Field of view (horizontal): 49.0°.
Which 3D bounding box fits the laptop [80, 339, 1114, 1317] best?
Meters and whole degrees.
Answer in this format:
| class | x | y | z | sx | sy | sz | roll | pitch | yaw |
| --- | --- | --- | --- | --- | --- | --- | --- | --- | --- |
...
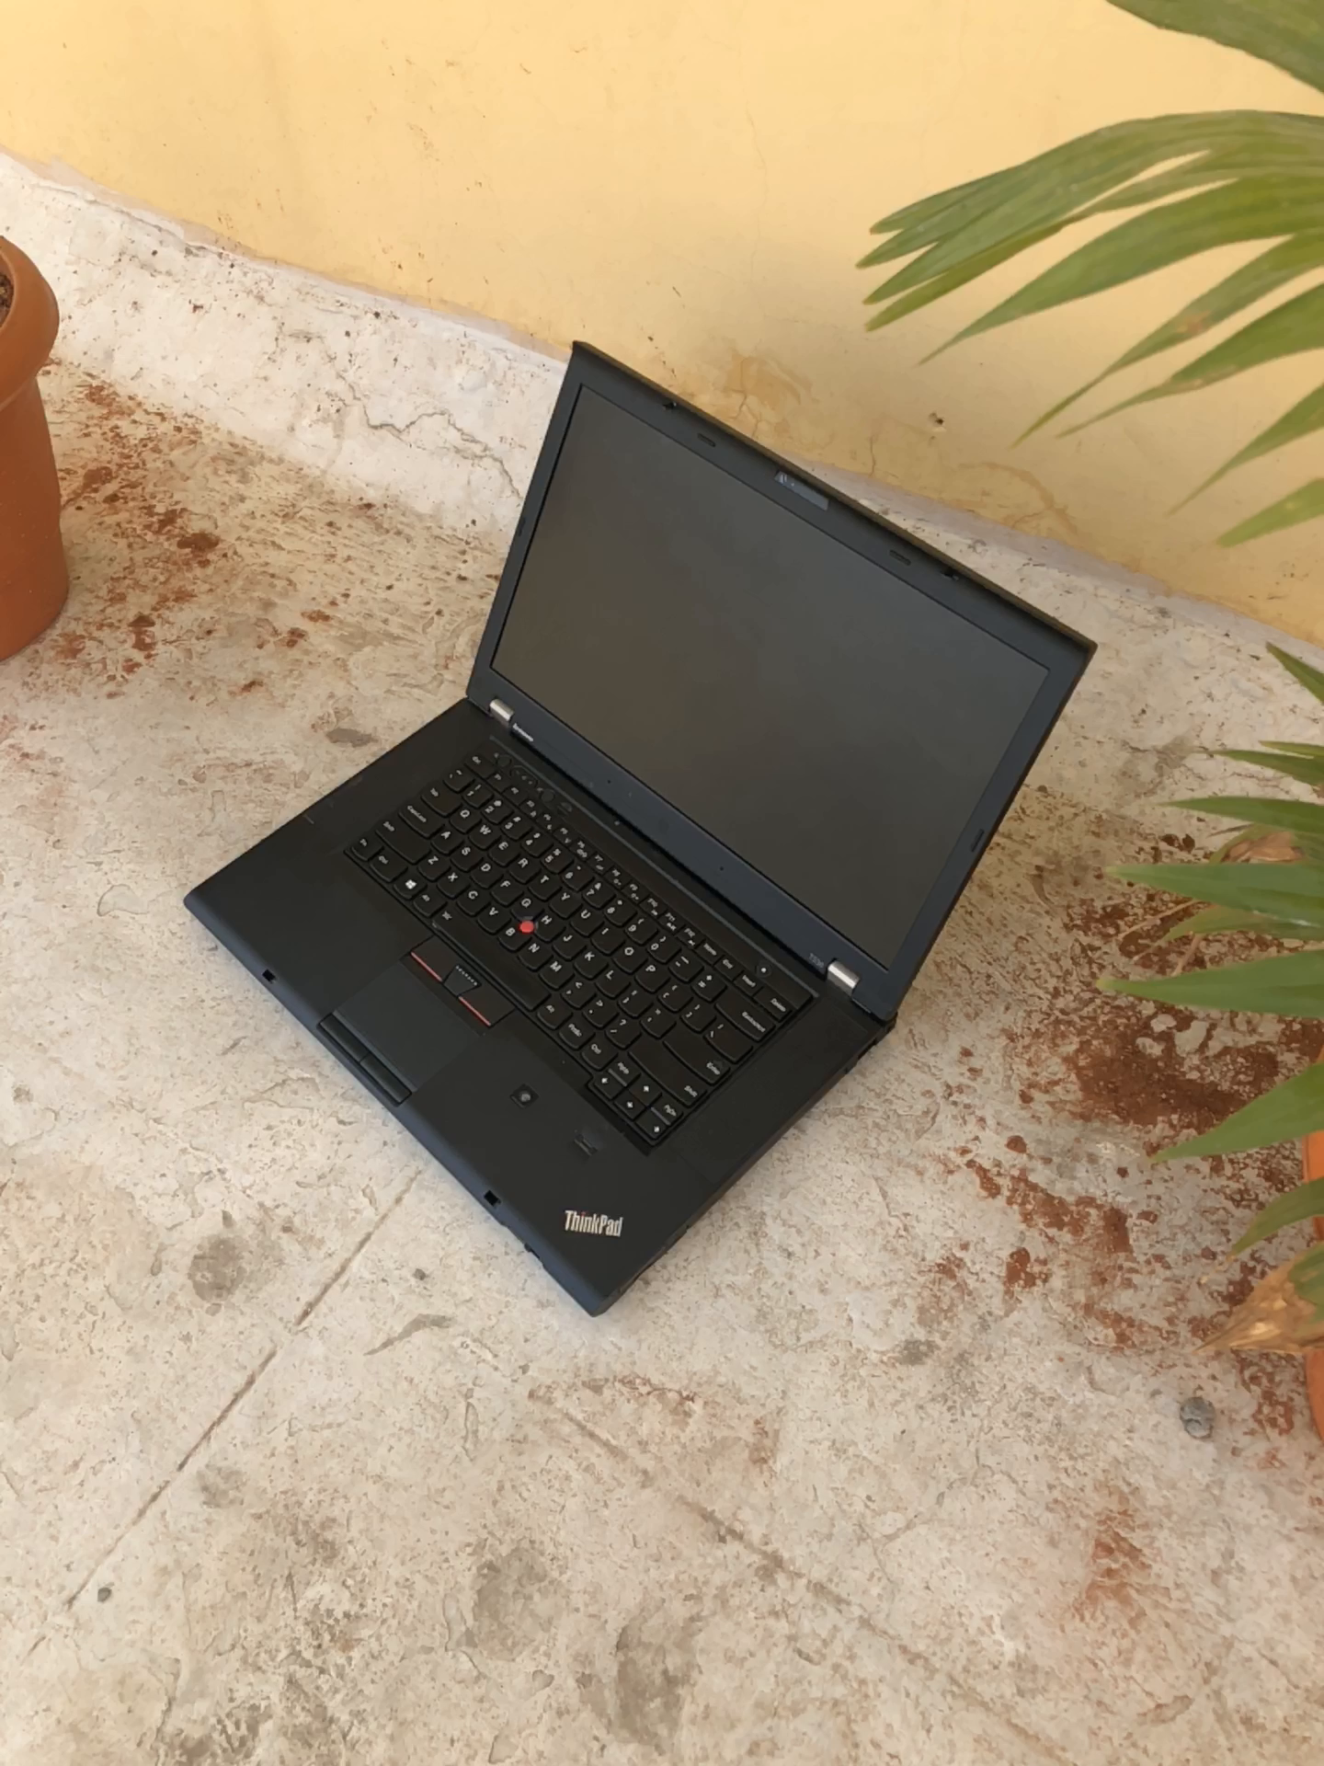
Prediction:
| class | x | y | z | sx | sy | sz | roll | pitch | yaw |
| --- | --- | --- | --- | --- | --- | --- | --- | --- | --- |
| laptop | -0.034 | -0.052 | 0.791 | 0.352 | 0.208 | 0.361 | -40 | 61 | -23 |
